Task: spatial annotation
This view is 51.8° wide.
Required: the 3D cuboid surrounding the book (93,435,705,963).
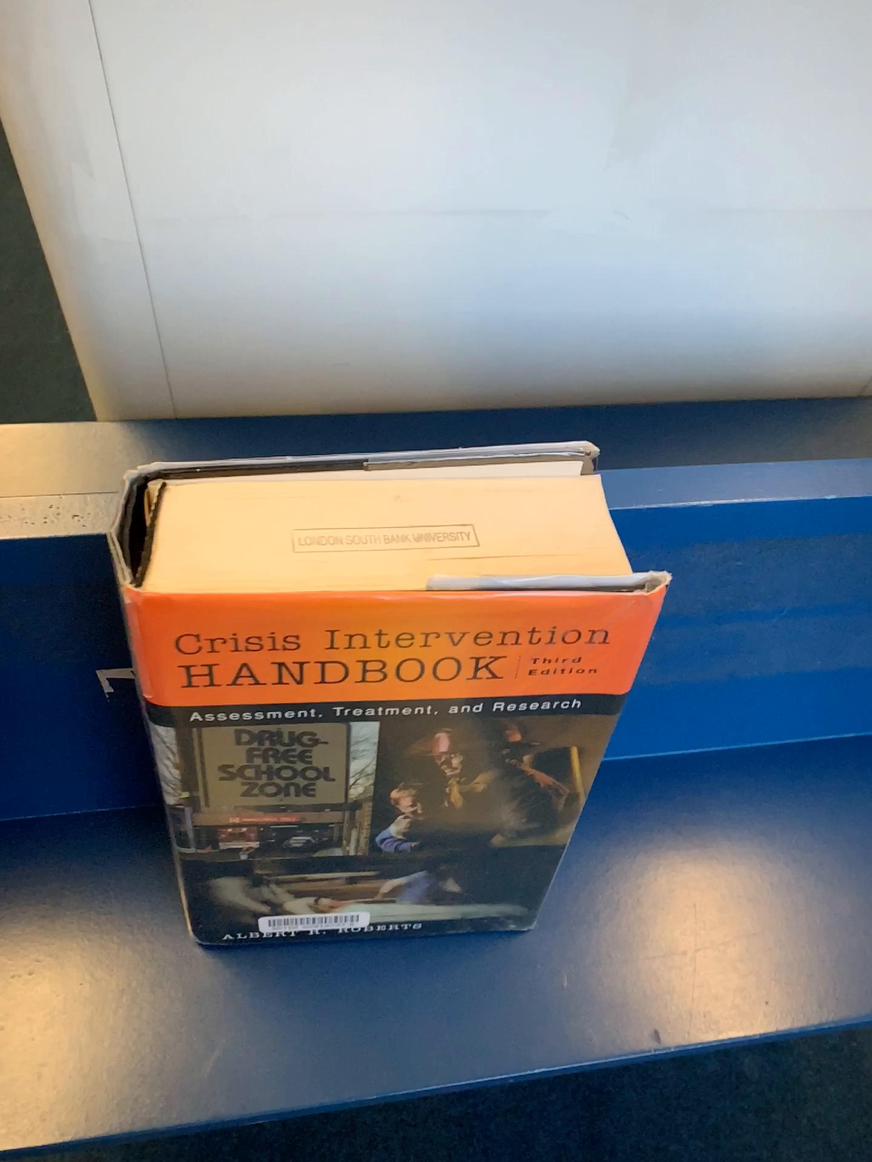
[{"bbox_3d":[-0.021,0.063,0.374,0.180,0.238,0.081,0,44,-8],"label":"book"}]
